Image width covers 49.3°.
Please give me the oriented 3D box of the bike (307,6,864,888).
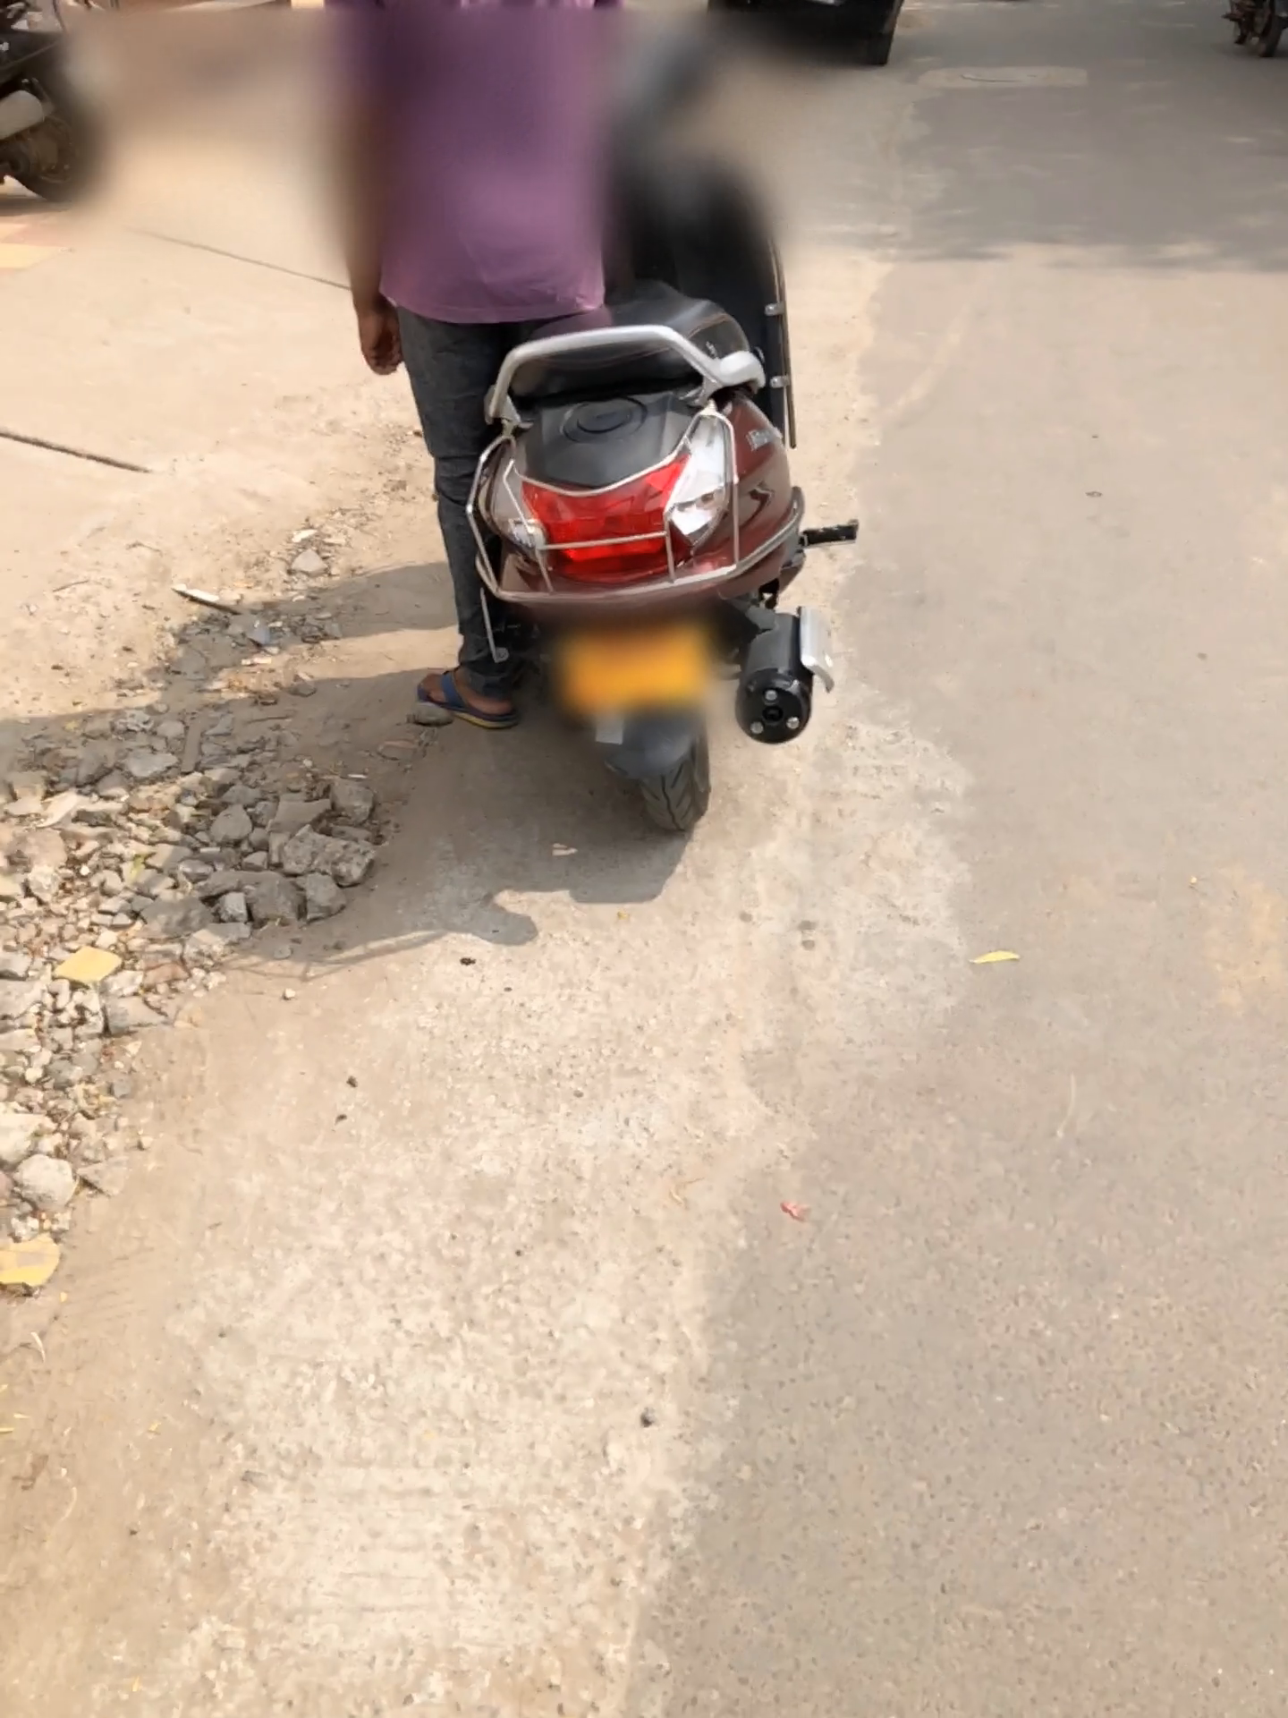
[{"bbox_3d":[-0.078,-0.893,2.682,0.674,1.125,1.626,0,36,0],"label":"bike"}]
